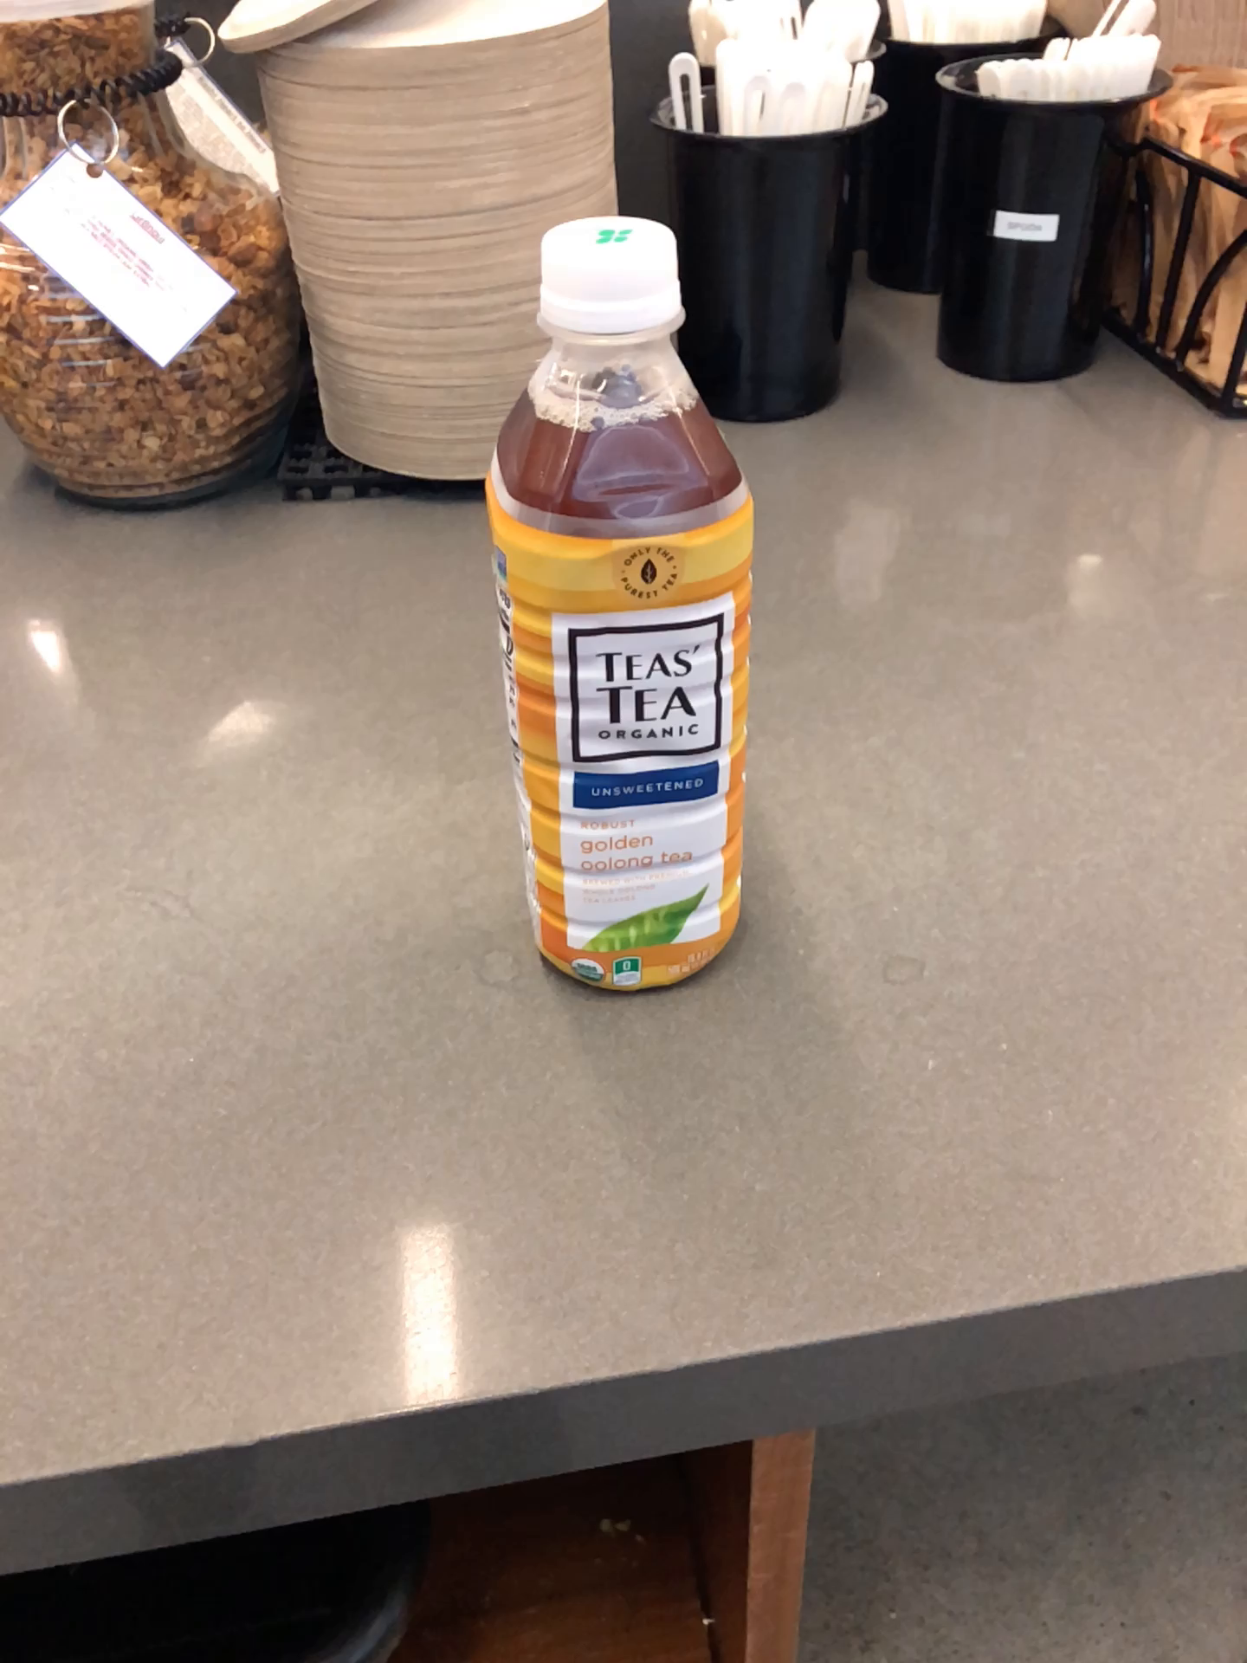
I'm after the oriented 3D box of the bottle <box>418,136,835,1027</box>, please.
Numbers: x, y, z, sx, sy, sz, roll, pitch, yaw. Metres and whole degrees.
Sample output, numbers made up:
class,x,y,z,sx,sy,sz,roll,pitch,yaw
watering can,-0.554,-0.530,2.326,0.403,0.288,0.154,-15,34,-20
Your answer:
class,x,y,z,sx,sy,sz,roll,pitch,yaw
bottle,0.001,-0.052,0.343,0.070,0.199,0.070,-2,39,1
